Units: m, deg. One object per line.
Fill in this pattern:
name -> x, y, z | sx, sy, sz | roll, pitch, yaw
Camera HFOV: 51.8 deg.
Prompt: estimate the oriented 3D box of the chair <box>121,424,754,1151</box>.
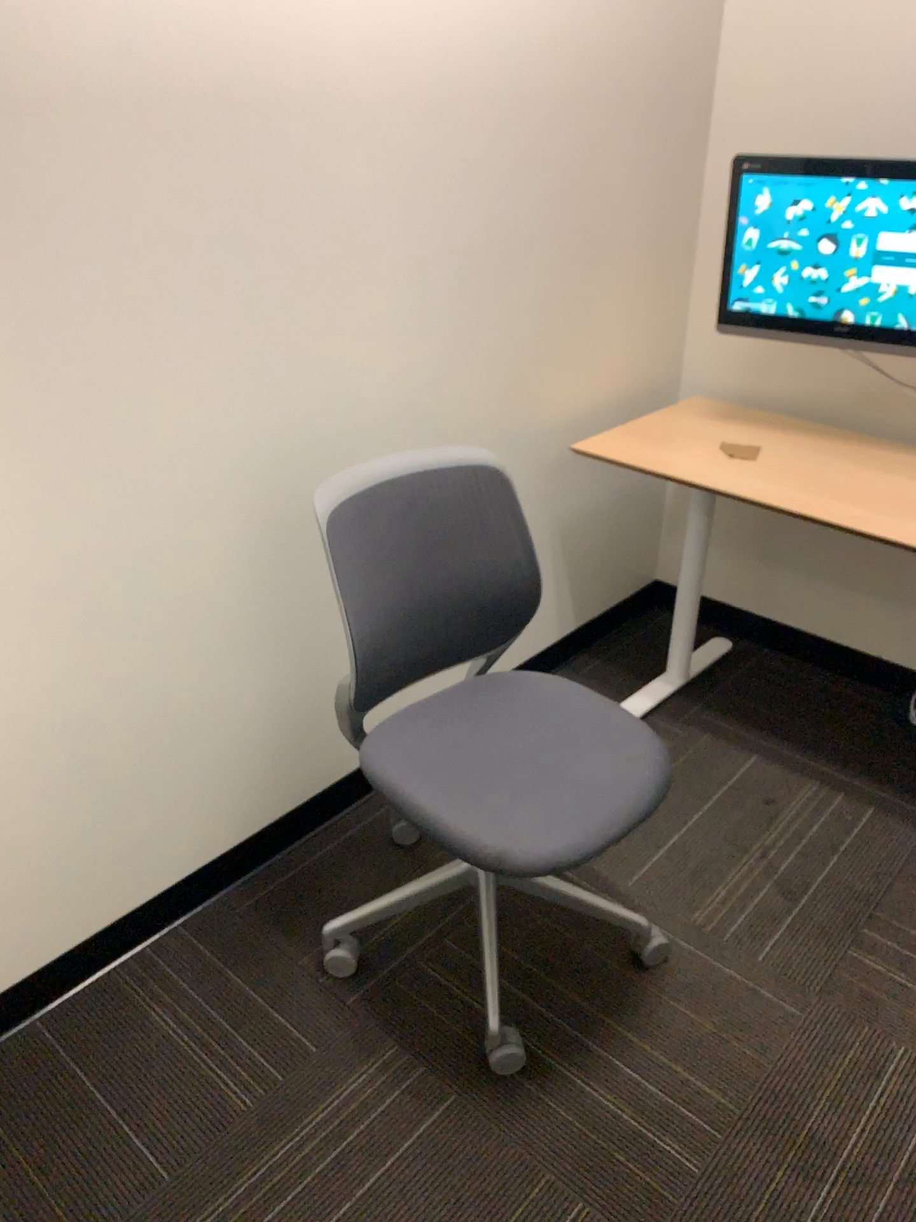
chair -> -0.076, 0.236, 1.878 | 0.721, 0.885, 0.904 | -21, 35, -34
